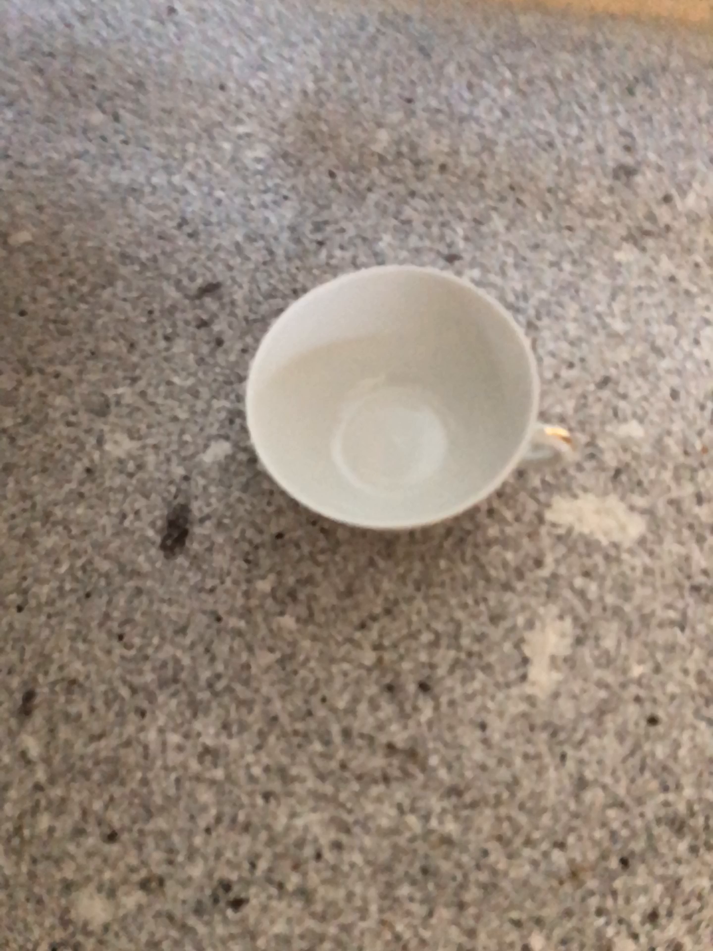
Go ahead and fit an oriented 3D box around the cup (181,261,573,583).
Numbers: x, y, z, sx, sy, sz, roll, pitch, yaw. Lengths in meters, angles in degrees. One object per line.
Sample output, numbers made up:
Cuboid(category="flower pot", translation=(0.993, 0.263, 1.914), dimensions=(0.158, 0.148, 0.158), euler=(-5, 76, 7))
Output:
Cuboid(category="cup", translation=(0.011, -0.018, 0.251), dimensions=(0.110, 0.040, 0.090), euler=(4, 69, 7))
